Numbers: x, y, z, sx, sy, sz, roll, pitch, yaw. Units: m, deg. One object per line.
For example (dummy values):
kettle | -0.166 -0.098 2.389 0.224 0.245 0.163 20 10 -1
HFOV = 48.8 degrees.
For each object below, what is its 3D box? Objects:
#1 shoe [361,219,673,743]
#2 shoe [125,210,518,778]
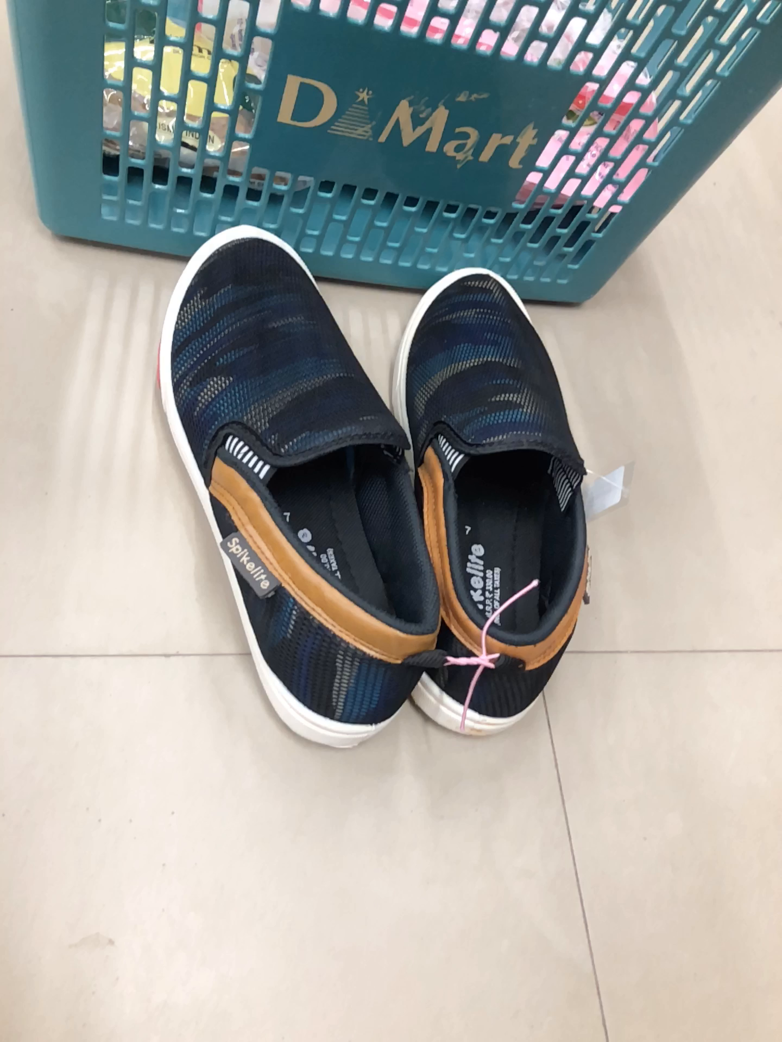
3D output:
shoe | 0.052 -0.021 0.450 0.105 0.107 0.240 9 60 -15
shoe | -0.049 -0.020 0.413 0.106 0.107 0.239 -9 66 -24
